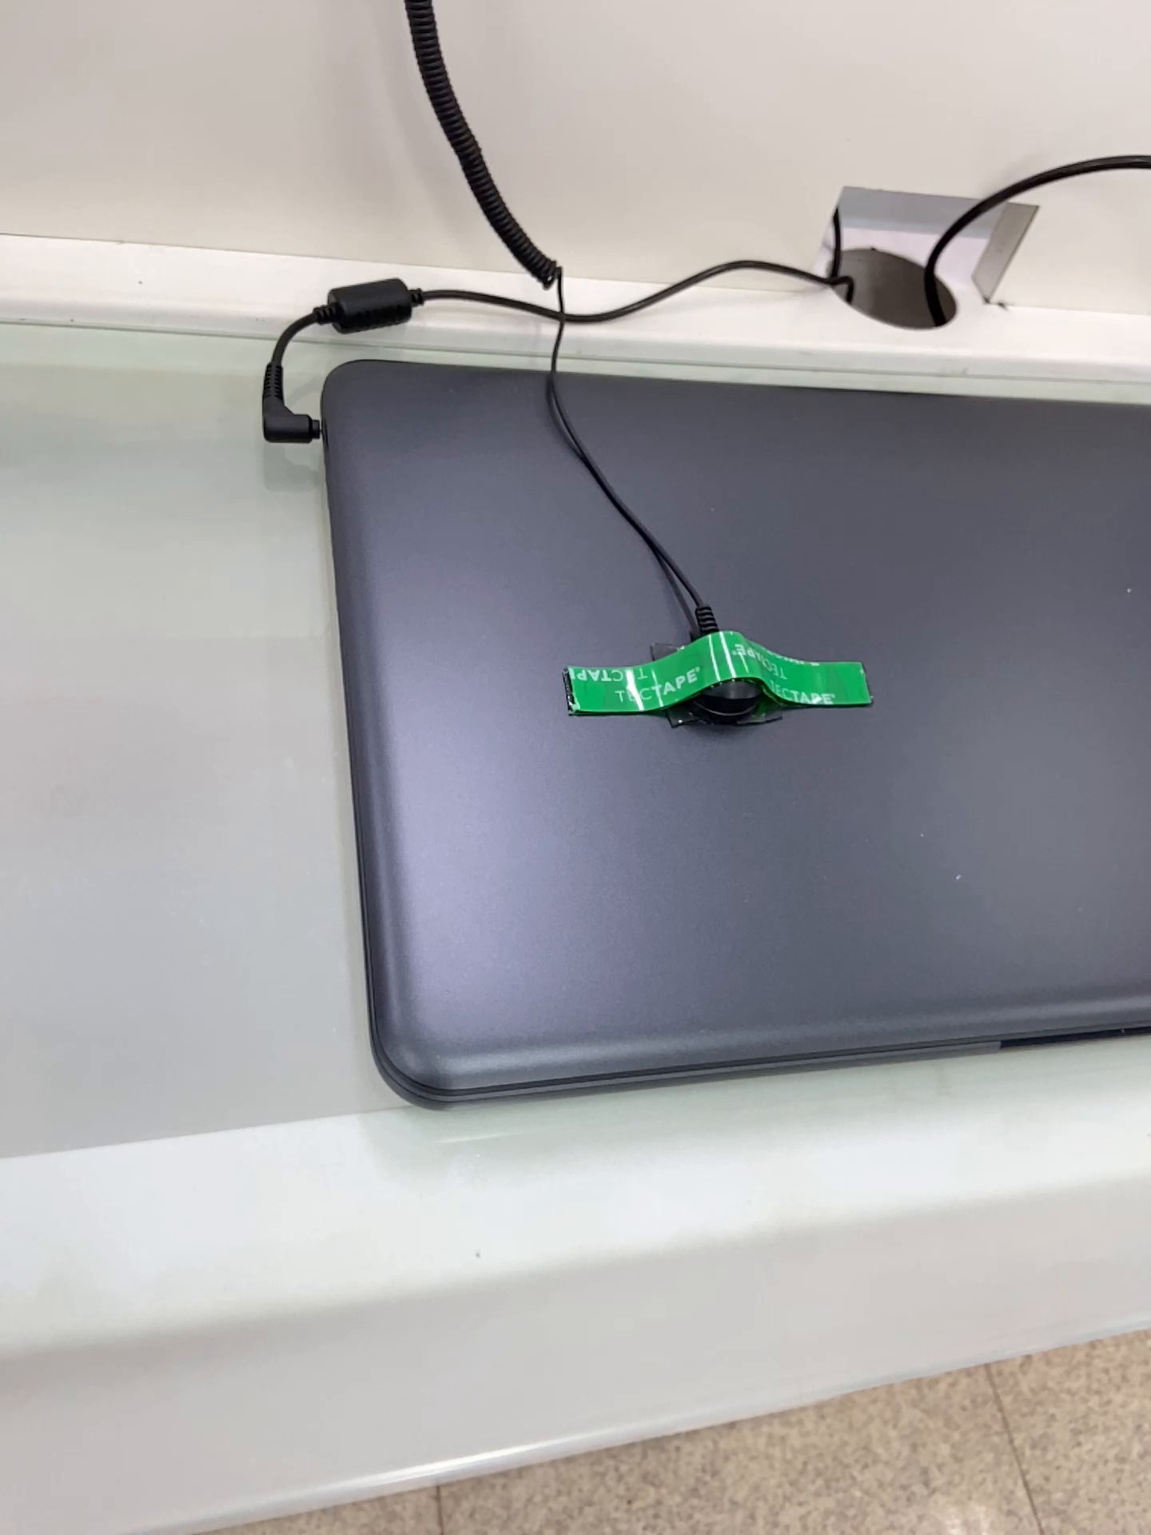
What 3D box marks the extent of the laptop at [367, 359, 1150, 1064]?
[{"bbox_3d":[0.122,-0.037,0.357,0.351,0.001,0.233,-1,54,-16],"label":"laptop"}]
